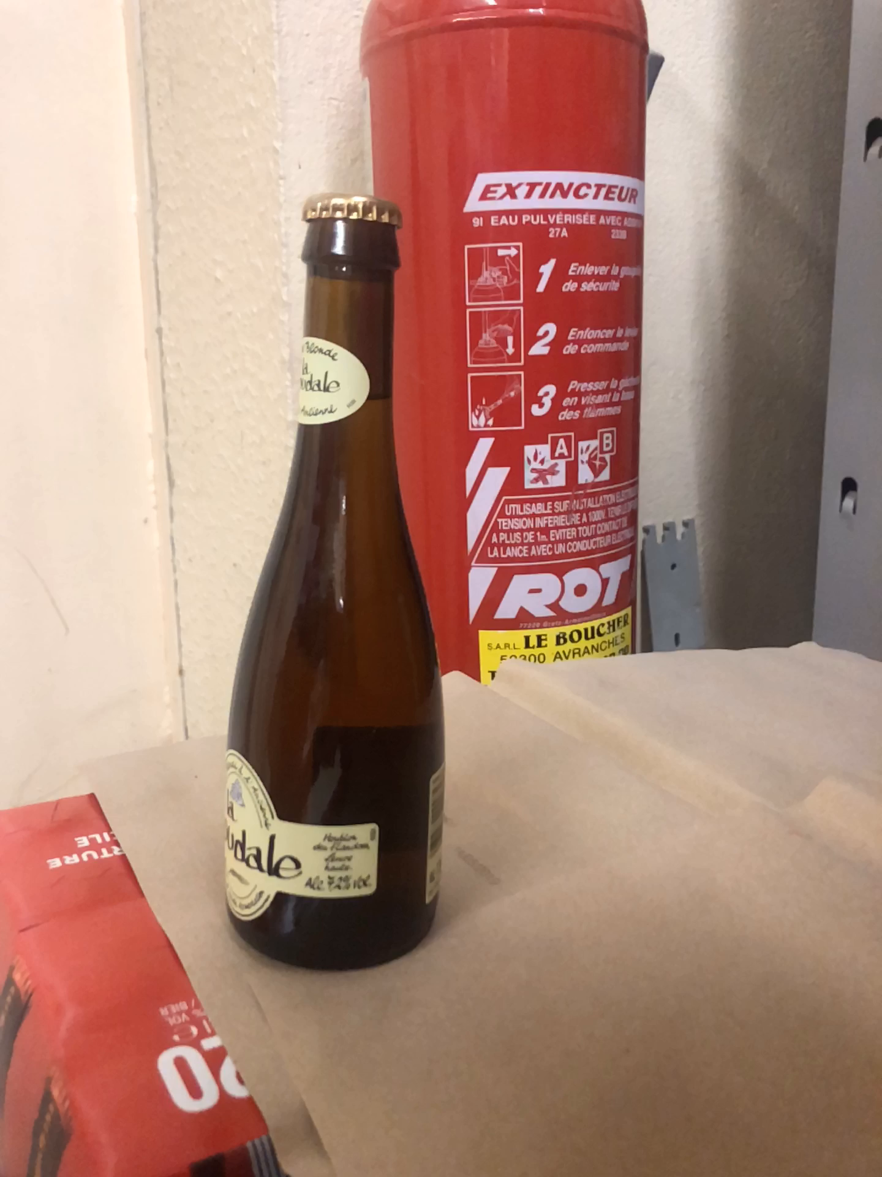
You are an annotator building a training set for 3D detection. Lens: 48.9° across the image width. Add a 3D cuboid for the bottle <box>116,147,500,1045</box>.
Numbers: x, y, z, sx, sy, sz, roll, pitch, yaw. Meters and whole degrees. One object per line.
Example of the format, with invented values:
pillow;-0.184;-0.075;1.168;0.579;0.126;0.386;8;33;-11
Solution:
bottle;-0.038;0.000;0.283;0.070;0.219;0.080;-10;16;-38
